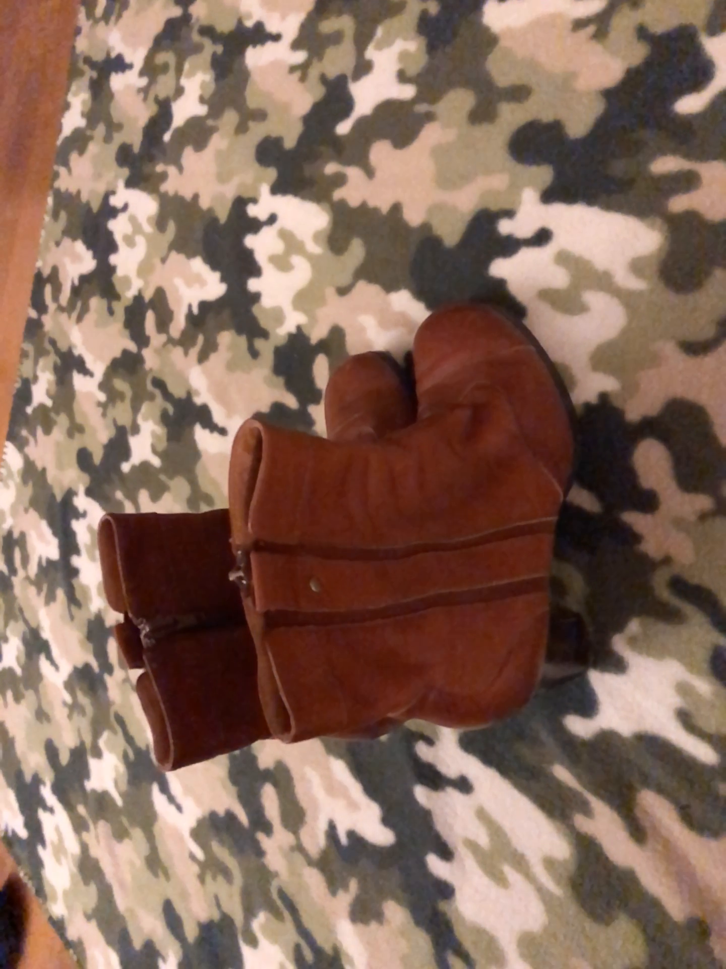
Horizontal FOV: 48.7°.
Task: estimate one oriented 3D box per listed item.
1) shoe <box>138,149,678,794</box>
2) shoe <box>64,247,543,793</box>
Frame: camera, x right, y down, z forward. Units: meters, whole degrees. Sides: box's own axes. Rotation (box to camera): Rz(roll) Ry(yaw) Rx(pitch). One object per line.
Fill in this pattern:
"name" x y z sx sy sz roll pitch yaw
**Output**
"shoe" 0.020 0.000 0.359 0.090 0.189 0.220 -29 66 42
"shoe" -0.032 0.019 0.414 0.090 0.189 0.220 -33 63 40
